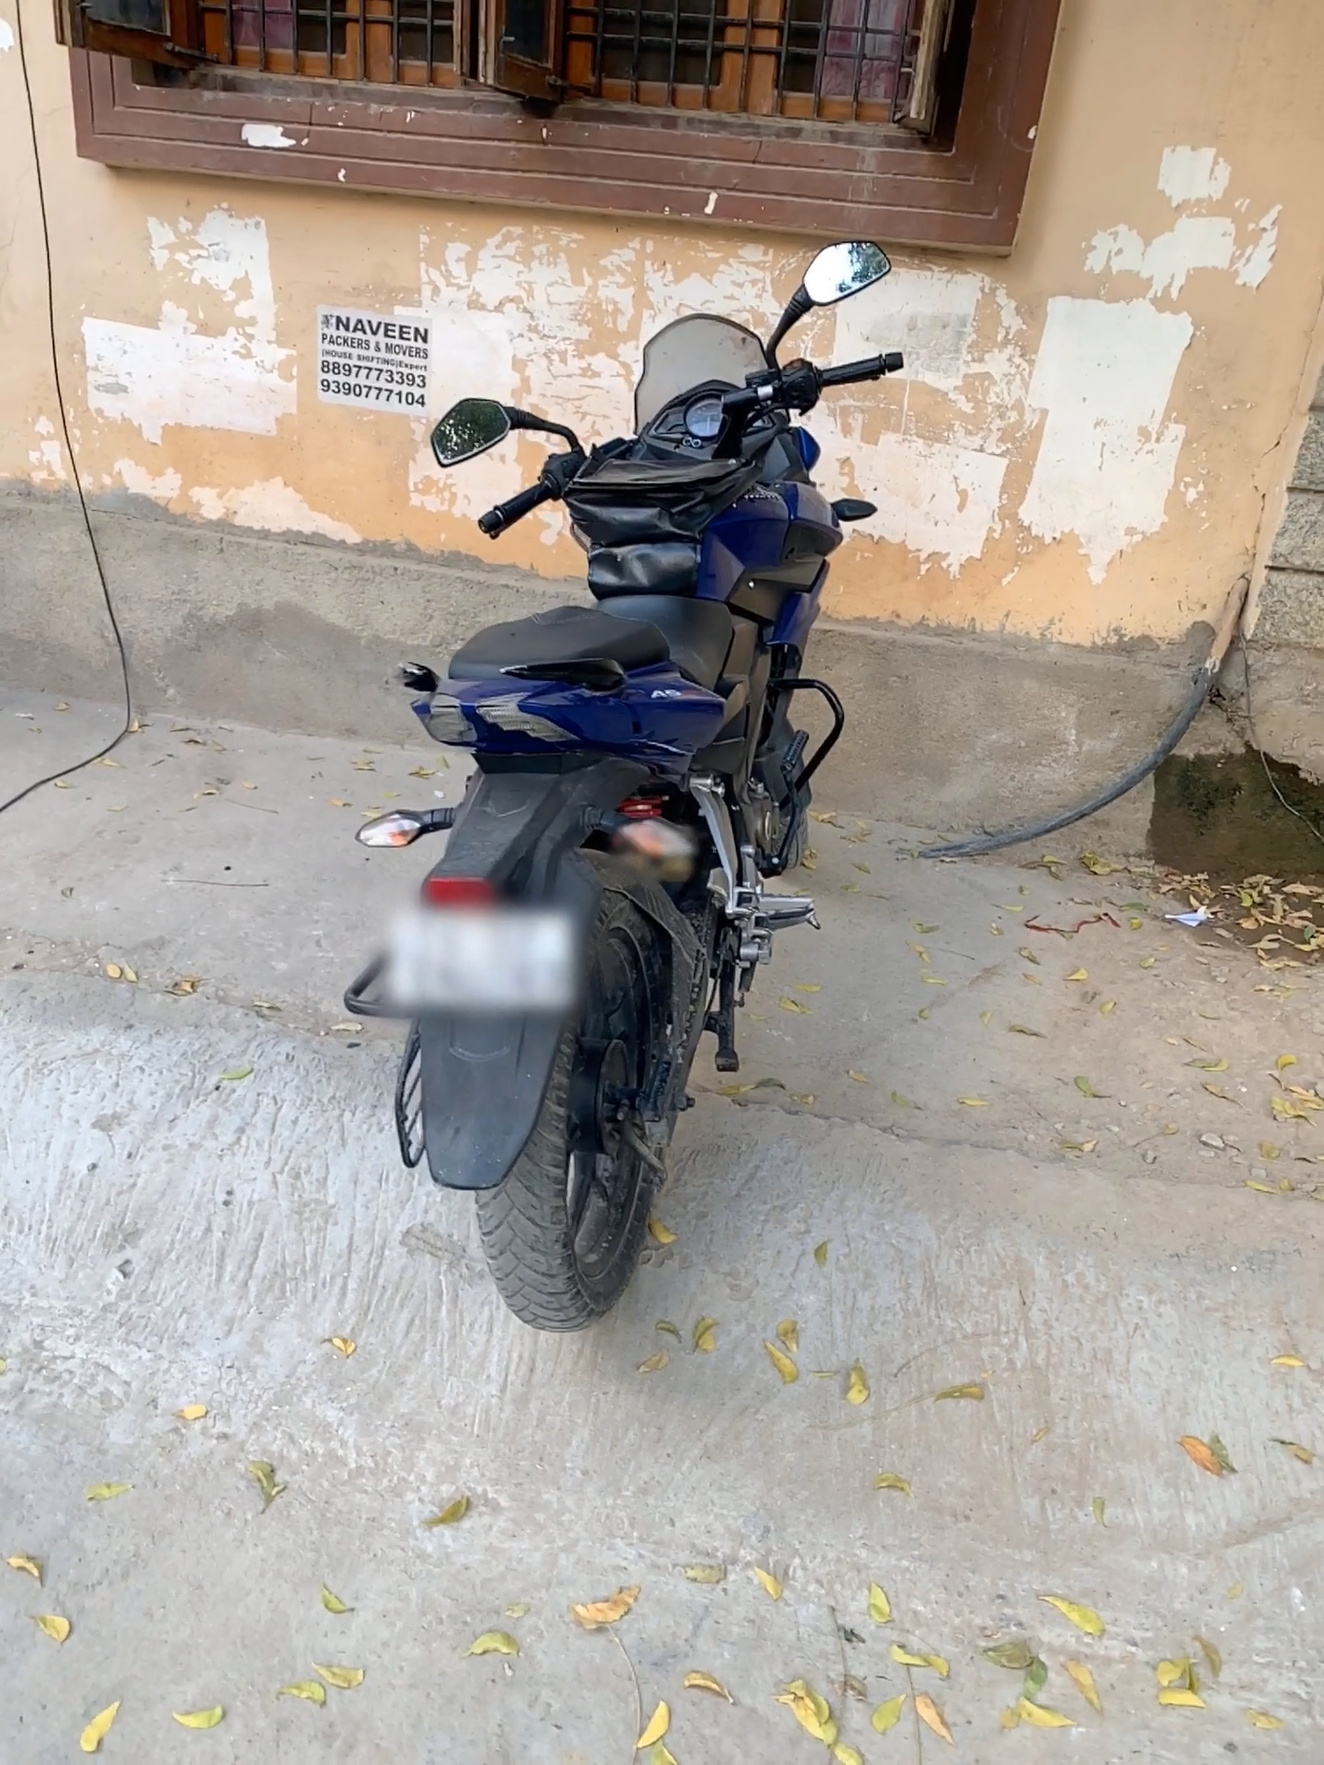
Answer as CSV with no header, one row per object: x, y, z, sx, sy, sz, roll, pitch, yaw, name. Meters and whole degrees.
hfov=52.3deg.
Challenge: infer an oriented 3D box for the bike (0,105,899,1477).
-0.293,-0.362,2.118,0.953,1.218,1.574,6,33,1,bike
